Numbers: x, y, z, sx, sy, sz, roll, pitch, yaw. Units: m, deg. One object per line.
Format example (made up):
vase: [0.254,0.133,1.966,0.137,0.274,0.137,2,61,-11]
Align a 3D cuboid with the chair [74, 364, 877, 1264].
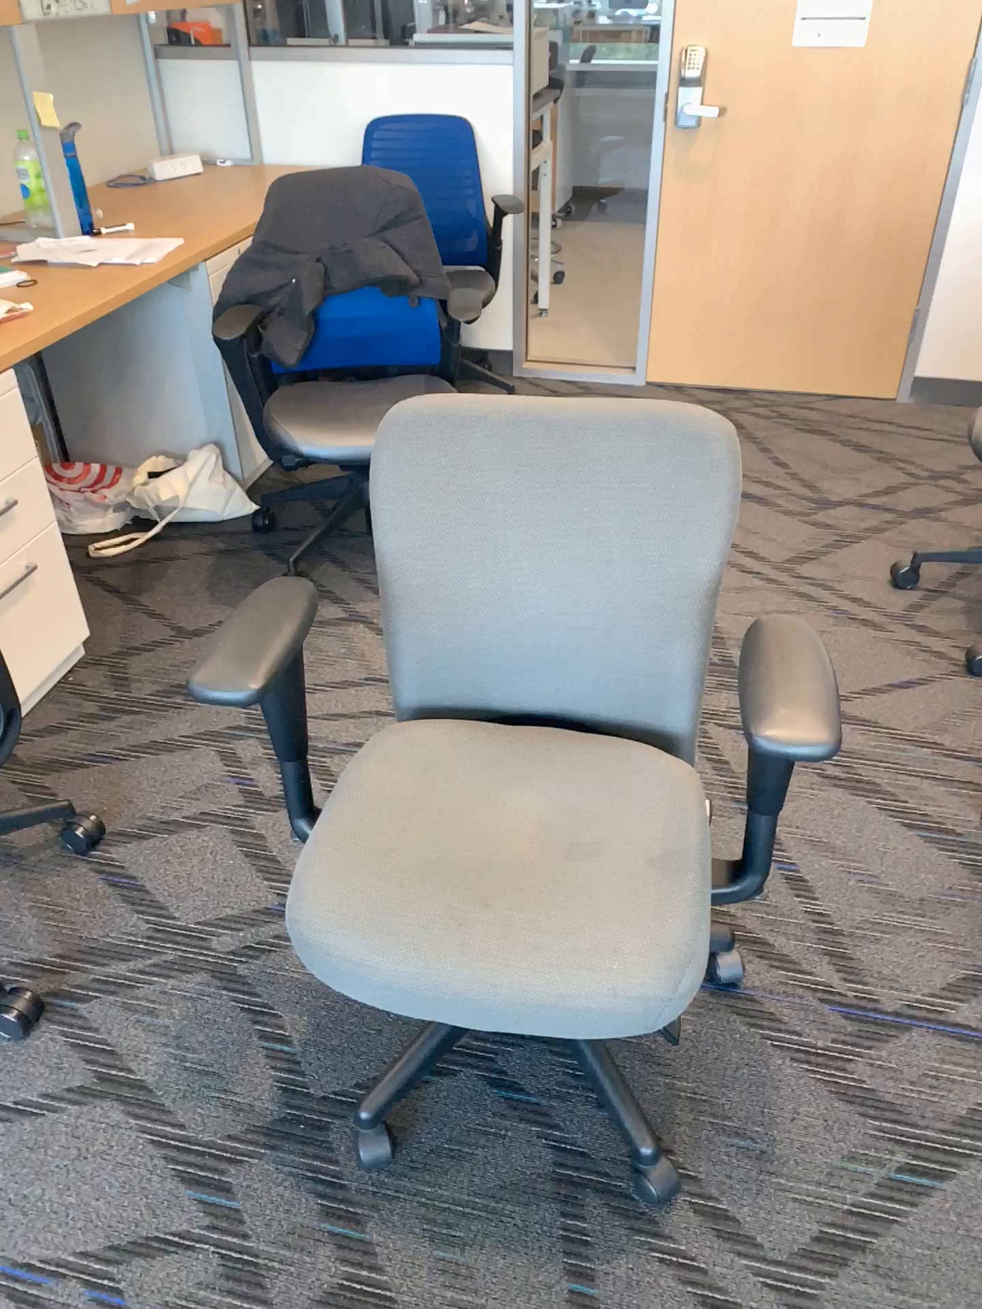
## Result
chair: [0.047,0.157,1.298,0.670,0.813,0.666,8,35,12]
